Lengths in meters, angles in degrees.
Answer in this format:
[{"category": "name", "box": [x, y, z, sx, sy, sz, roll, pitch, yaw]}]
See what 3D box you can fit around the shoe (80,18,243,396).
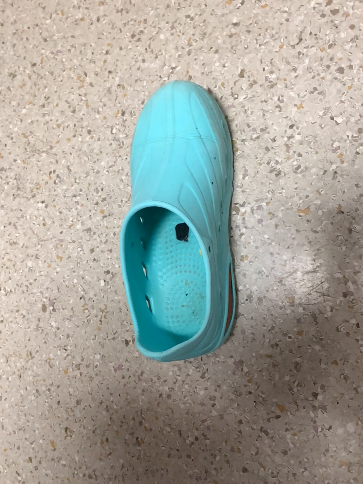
[{"category": "shoe", "box": [-0.014, -0.025, 0.340, 0.106, 0.105, 0.275, -3, 87, 25]}]
